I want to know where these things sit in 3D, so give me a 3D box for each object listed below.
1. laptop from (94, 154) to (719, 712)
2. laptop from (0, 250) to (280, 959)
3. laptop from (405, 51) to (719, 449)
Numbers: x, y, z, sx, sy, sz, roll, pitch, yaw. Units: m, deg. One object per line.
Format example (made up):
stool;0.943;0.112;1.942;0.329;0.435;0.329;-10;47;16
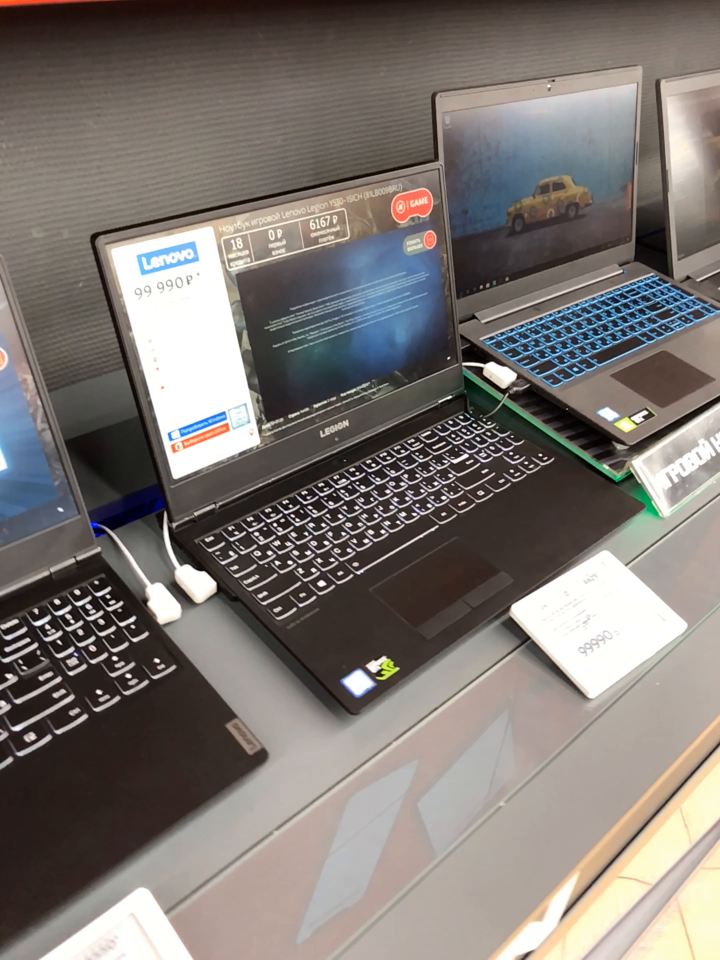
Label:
laptop;0.034;-0.079;0.642;0.353;0.225;0.301;-26;47;-33
laptop;-0.285;0.073;0.416;0.354;0.223;0.315;-27;47;-35
laptop;0.296;-0.282;0.866;0.355;0.225;0.335;-25;49;-31
